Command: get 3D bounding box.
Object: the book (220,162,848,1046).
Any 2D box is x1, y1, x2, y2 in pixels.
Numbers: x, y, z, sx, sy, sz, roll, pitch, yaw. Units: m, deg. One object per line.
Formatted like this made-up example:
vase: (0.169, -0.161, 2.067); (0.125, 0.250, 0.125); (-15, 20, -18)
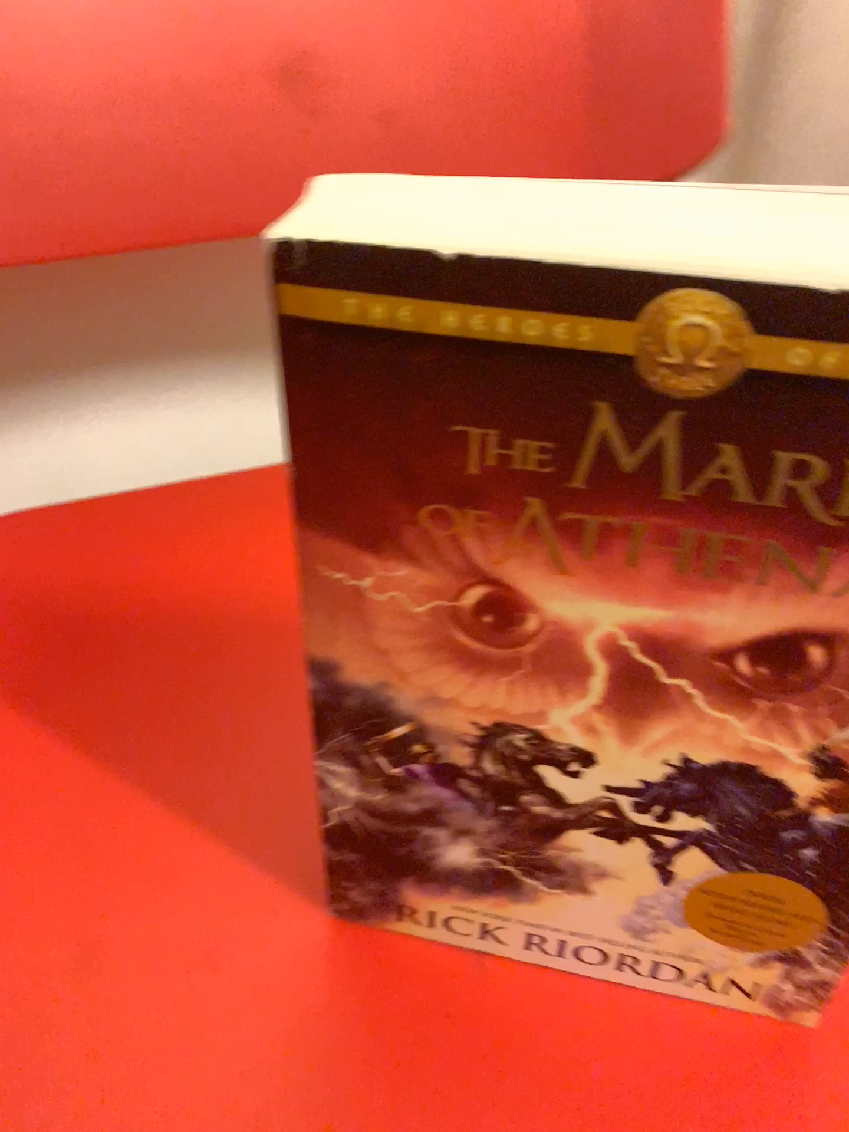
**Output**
book: (0.043, 0.024, 0.199); (0.139, 0.193, 0.061); (5, 38, 4)
